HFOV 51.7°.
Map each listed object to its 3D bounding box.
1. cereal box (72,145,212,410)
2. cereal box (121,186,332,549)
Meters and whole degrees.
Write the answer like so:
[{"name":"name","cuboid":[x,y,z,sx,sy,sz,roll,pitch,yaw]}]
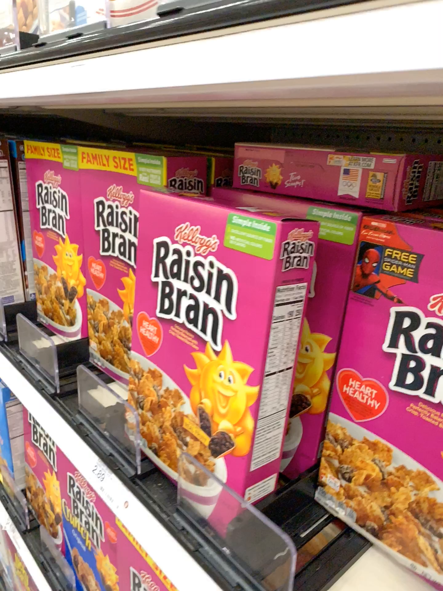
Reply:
[{"name":"cereal box","cuboid":[-0.118,-0.037,0.610,0.060,0.299,0.221,-12,24,-41]},{"name":"cereal box","cuboid":[-0.016,0.051,0.436,0.050,0.279,0.201,-8,21,-42]}]
